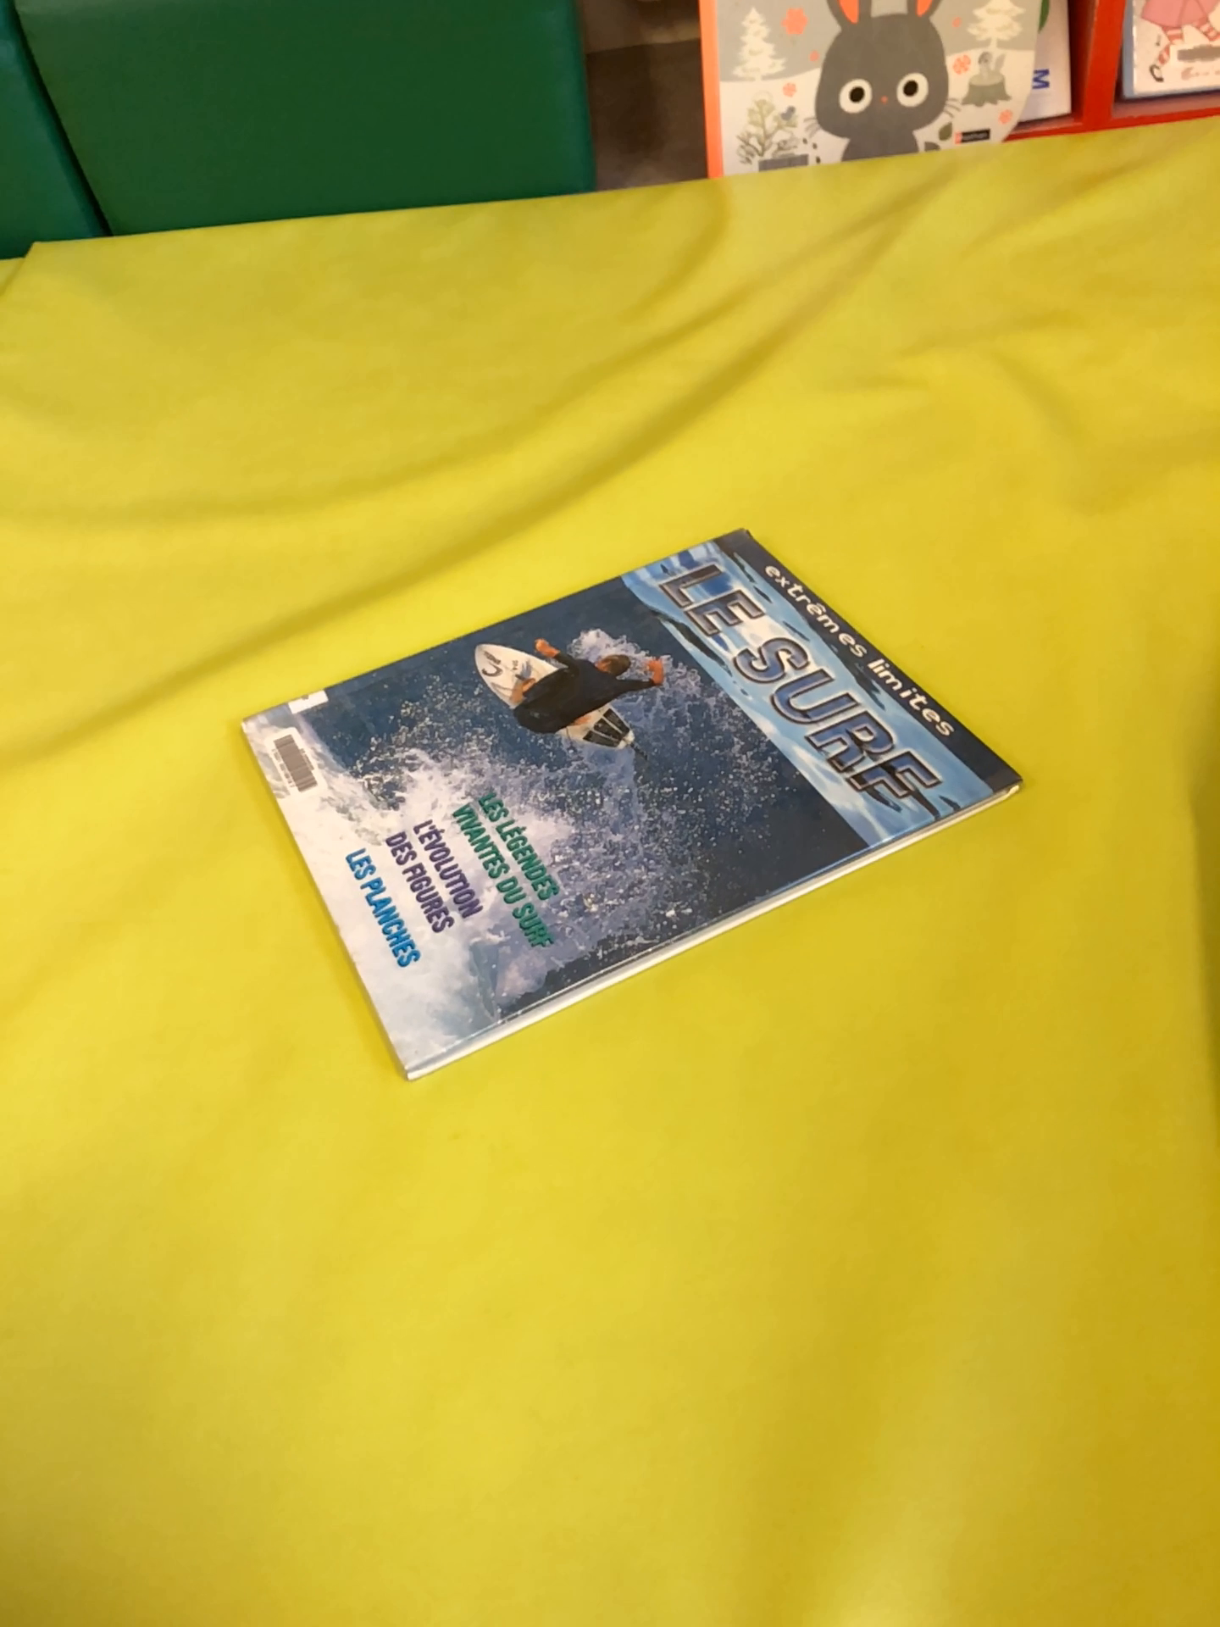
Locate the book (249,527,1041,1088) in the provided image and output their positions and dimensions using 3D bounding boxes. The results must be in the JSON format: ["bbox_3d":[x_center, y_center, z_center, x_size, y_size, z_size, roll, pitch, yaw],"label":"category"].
[{"bbox_3d":[0.004,-0.025,0.588,0.273,0.016,0.227,-23,46,-15],"label":"book"}]
